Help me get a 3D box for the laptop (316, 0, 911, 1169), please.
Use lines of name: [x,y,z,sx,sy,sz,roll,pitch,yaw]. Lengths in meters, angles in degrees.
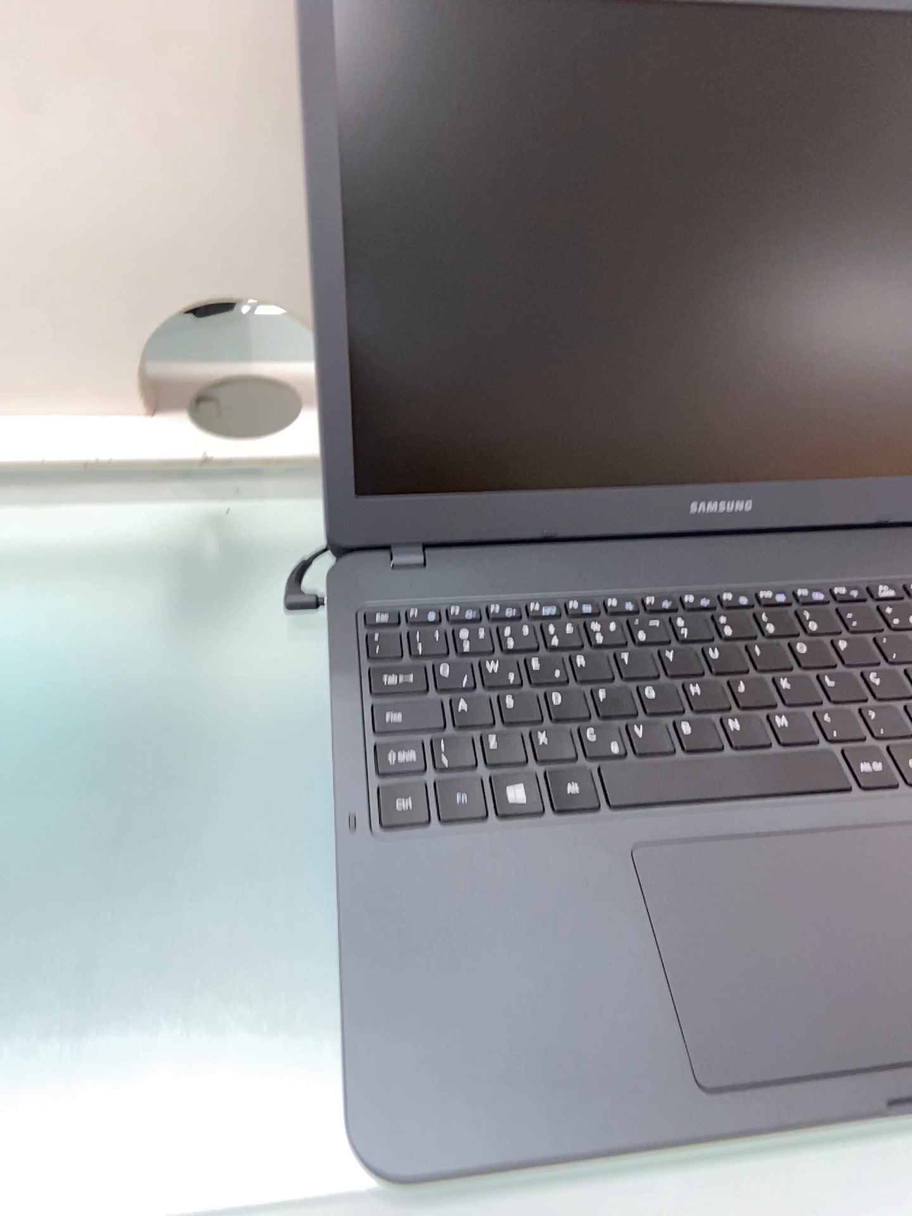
laptop: [0.145,-0.054,0.317,0.363,0.208,0.343,-3,45,-7]
